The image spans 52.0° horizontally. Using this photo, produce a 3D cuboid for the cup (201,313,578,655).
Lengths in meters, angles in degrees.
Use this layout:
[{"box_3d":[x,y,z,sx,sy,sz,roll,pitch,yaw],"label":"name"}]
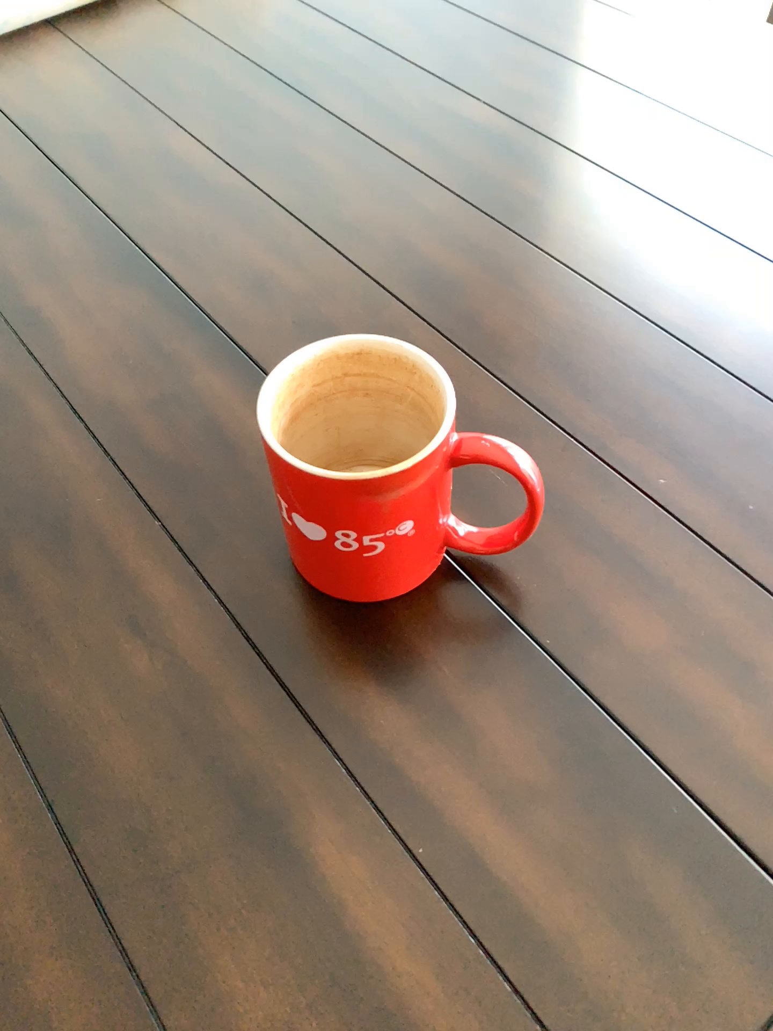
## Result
[{"box_3d":[0.005,-0.015,0.357,0.130,0.090,0.090,14,56,13],"label":"cup"}]
